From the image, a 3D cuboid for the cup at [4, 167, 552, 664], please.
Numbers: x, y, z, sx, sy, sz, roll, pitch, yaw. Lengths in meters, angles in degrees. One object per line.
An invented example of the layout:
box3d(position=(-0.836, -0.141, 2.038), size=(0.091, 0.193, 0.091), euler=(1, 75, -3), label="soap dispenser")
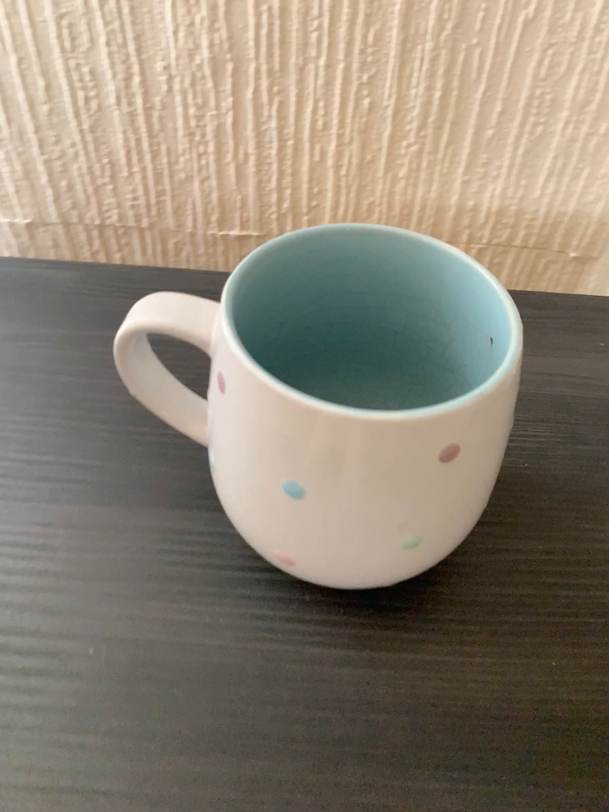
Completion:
box3d(position=(-0.001, 0.000, 0.217), size=(0.130, 0.099, 0.101), euler=(16, 49, 11), label="cup")
